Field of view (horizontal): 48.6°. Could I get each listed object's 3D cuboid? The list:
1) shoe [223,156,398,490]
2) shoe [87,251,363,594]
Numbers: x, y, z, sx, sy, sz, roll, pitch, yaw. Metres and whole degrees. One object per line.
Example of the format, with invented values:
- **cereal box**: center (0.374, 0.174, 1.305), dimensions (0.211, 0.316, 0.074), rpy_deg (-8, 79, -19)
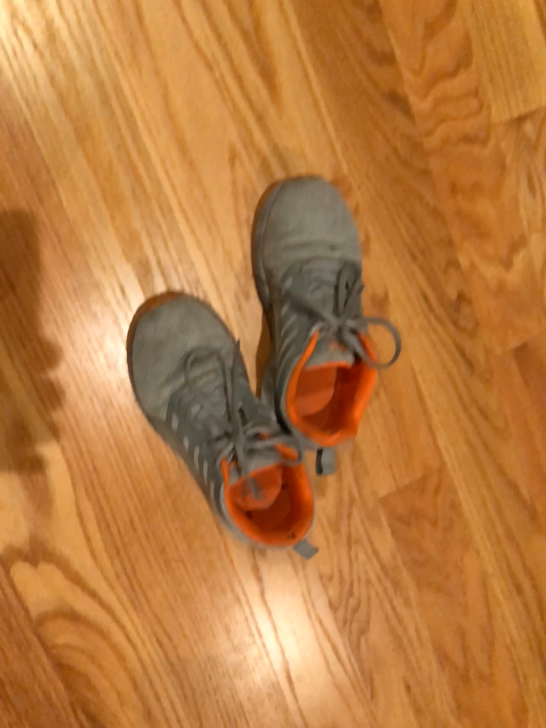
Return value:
- **shoe**: center (0.030, -0.036, 0.518), dimensions (0.100, 0.100, 0.250), rpy_deg (-8, 98, -15)
- **shoe**: center (-0.040, 0.046, 0.508), dimensions (0.110, 0.080, 0.250), rpy_deg (-31, 103, -11)
